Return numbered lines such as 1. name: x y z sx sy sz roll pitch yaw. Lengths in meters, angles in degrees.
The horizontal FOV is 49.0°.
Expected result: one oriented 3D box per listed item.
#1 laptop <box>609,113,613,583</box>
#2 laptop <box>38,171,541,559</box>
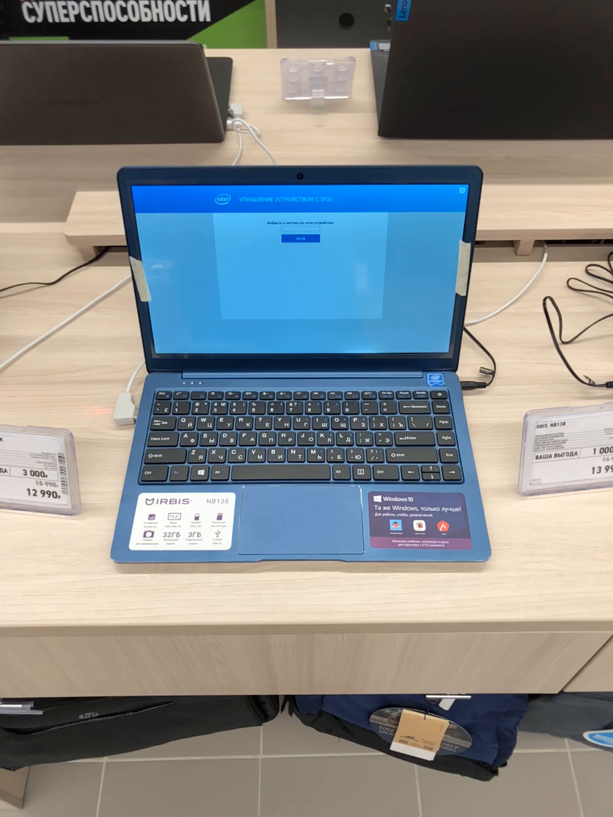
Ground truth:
1. laptop: 0.479 -0.051 0.543 0.310 0.218 0.289 -2 52 0
2. laptop: -0.011 -0.040 0.570 0.309 0.186 0.271 0 51 0
